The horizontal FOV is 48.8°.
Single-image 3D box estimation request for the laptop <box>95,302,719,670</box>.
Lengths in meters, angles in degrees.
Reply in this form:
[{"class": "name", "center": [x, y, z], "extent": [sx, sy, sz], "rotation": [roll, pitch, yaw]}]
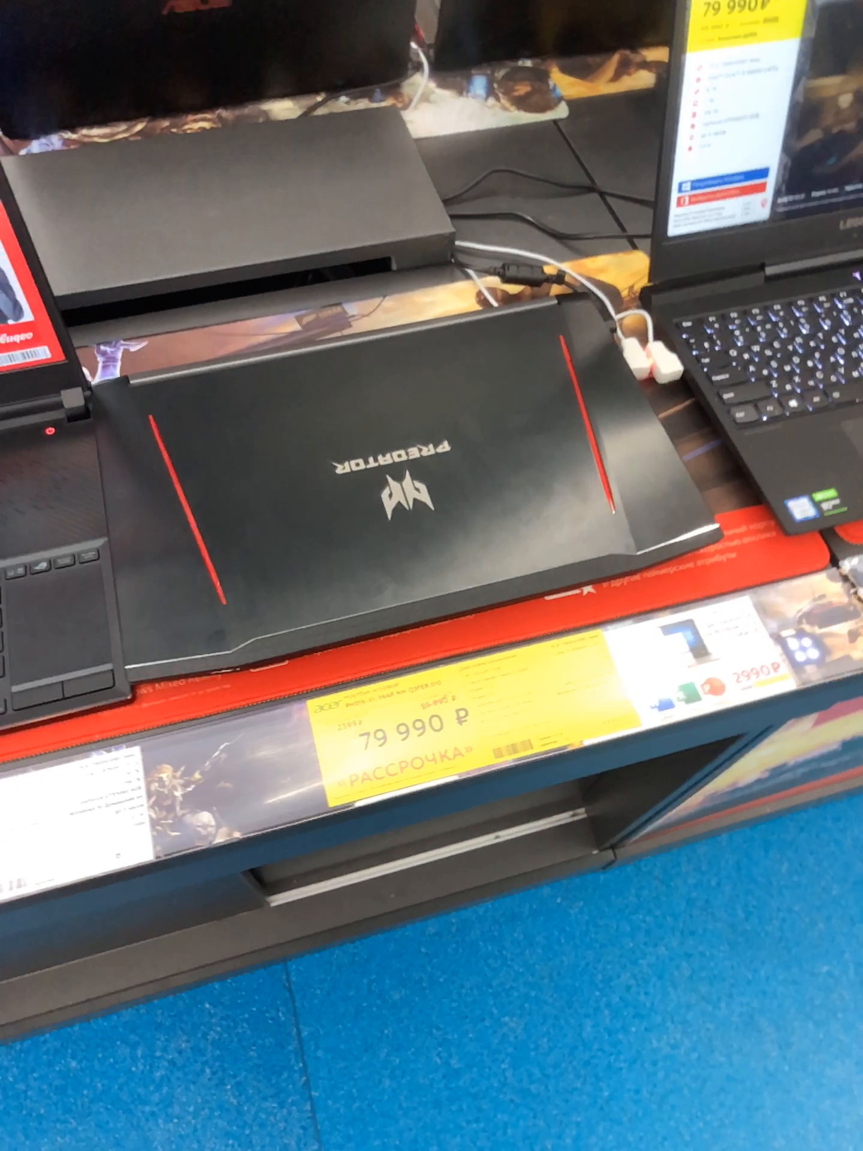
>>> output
[{"class": "laptop", "center": [-0.026, -0.079, 0.647], "extent": [0.377, 0.004, 0.228], "rotation": [-13, 57, -10]}]
